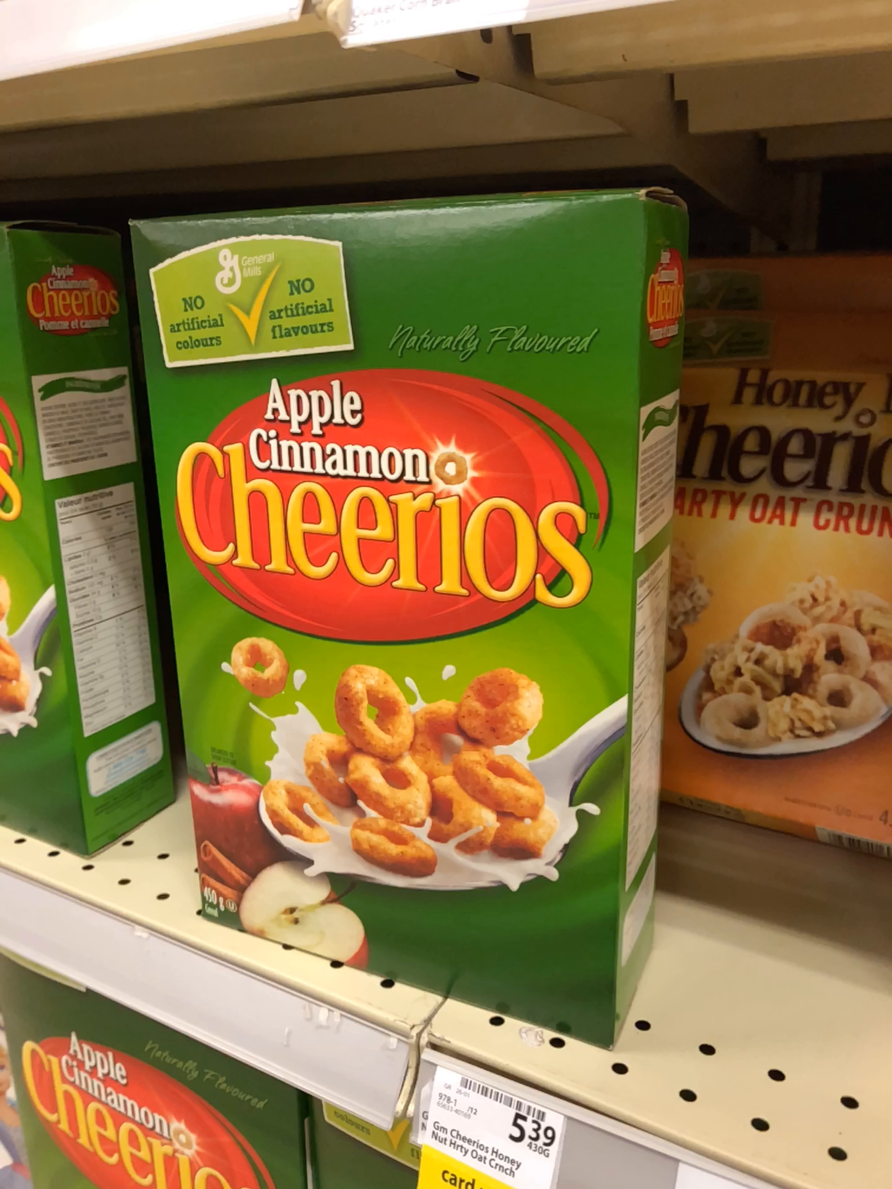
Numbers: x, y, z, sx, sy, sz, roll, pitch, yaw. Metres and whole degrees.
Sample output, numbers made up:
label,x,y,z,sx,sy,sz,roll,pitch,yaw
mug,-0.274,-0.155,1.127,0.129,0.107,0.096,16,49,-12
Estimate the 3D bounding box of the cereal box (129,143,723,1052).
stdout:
label,x,y,z,sx,sy,sz,roll,pitch,yaw
cereal box,-0.009,0.000,0.392,0.200,0.309,0.070,7,18,25
